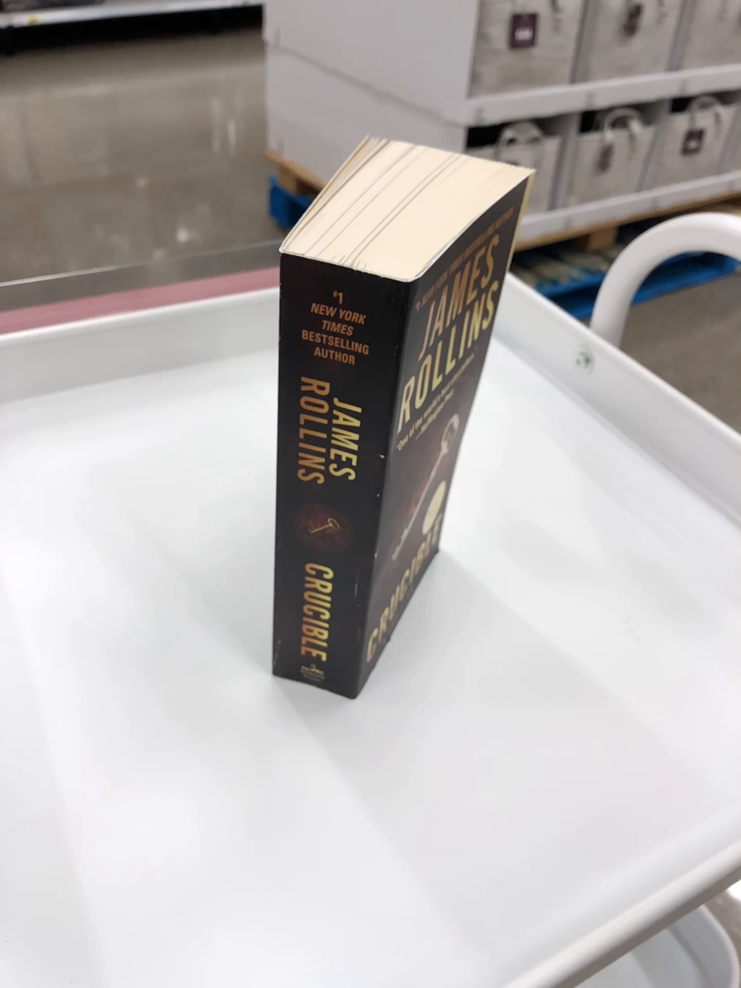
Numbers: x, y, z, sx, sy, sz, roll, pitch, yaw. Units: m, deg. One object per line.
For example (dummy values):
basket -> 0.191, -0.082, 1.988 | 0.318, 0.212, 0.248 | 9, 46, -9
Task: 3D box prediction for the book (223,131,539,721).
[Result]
book -> 0.002, -0.023, 0.320 | 0.066, 0.184, 0.113 | 17, 41, 12
